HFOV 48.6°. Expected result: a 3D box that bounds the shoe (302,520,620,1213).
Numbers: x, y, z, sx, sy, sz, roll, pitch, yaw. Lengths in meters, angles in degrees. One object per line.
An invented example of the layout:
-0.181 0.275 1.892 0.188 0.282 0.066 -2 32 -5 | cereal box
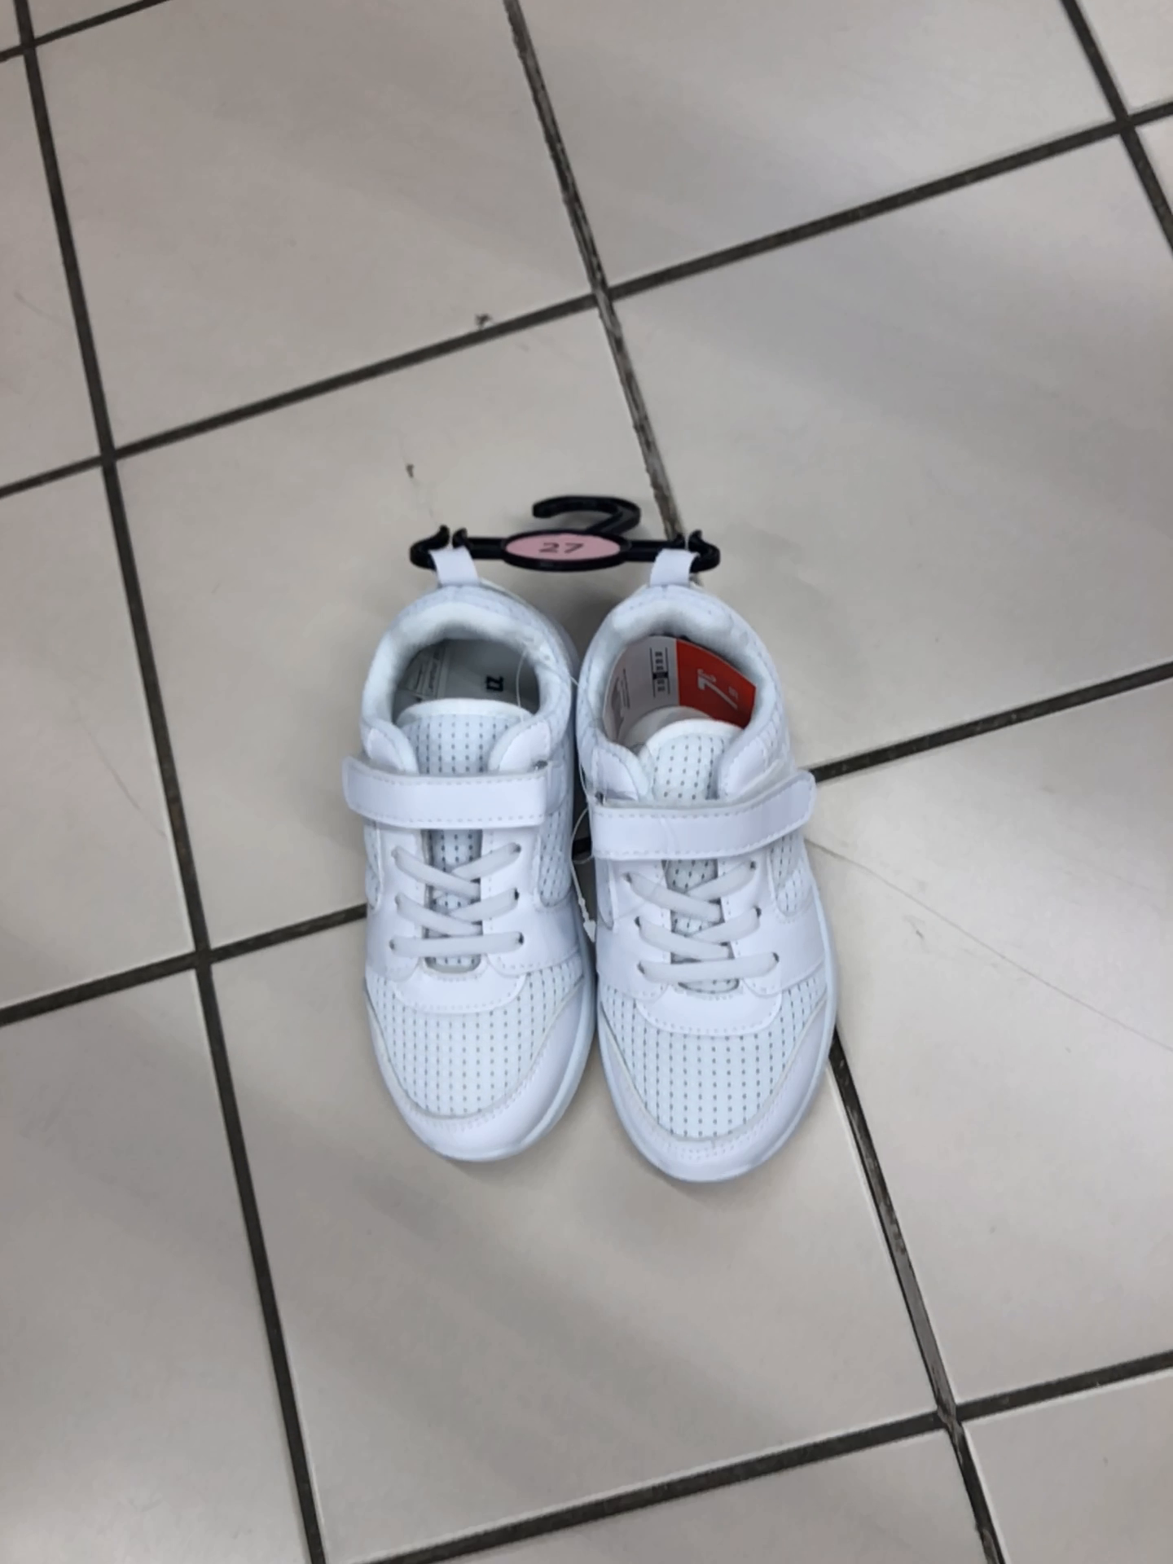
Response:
-0.038 0.029 0.418 0.080 0.080 0.200 -4 77 7 | shoe

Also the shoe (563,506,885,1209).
0.042 0.026 0.413 0.080 0.080 0.200 -4 77 7 | shoe
